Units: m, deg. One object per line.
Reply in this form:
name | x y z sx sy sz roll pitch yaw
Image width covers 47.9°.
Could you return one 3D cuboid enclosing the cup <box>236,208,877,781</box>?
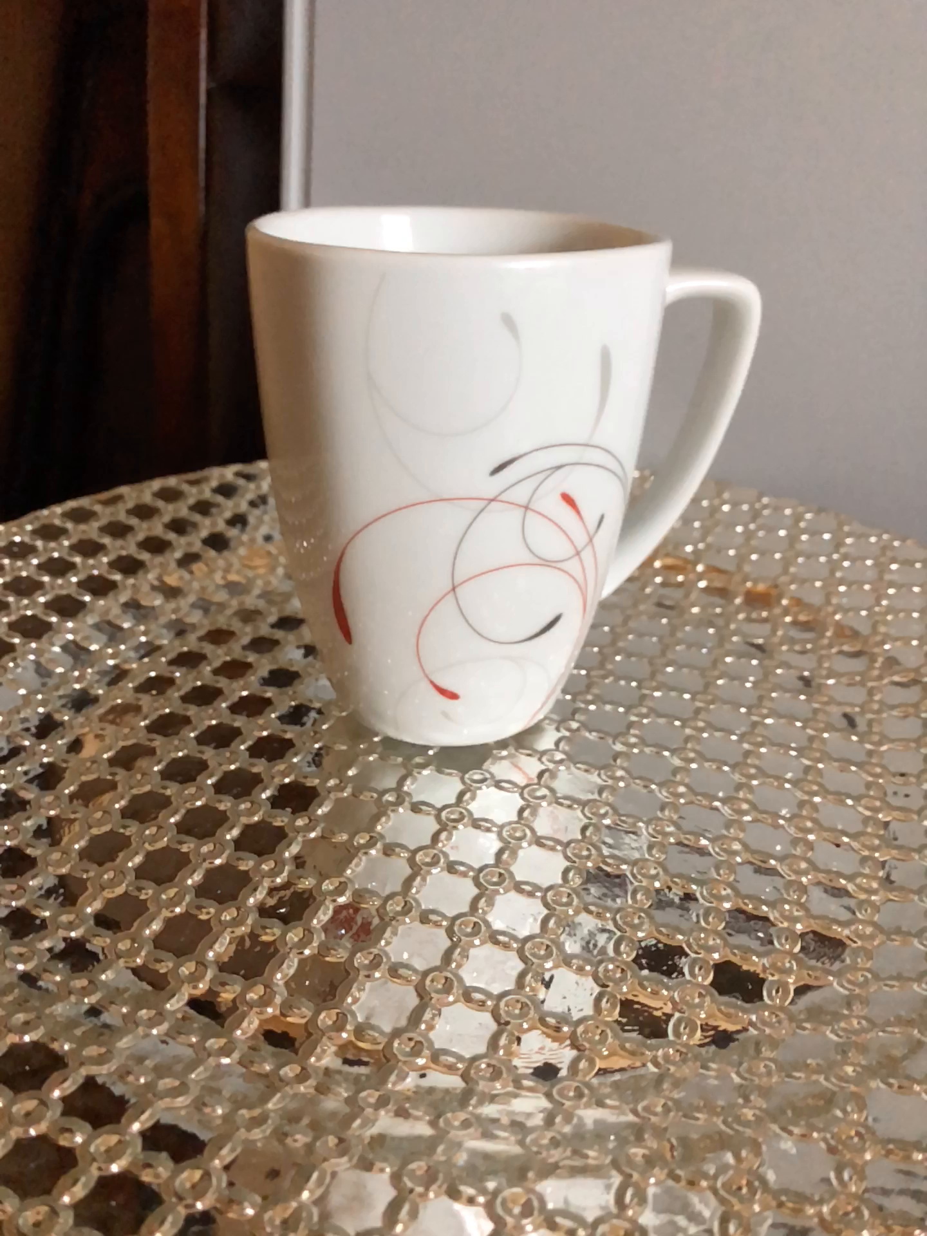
cup | 0.015 -0.038 0.243 0.110 0.100 0.080 -11 29 -25
